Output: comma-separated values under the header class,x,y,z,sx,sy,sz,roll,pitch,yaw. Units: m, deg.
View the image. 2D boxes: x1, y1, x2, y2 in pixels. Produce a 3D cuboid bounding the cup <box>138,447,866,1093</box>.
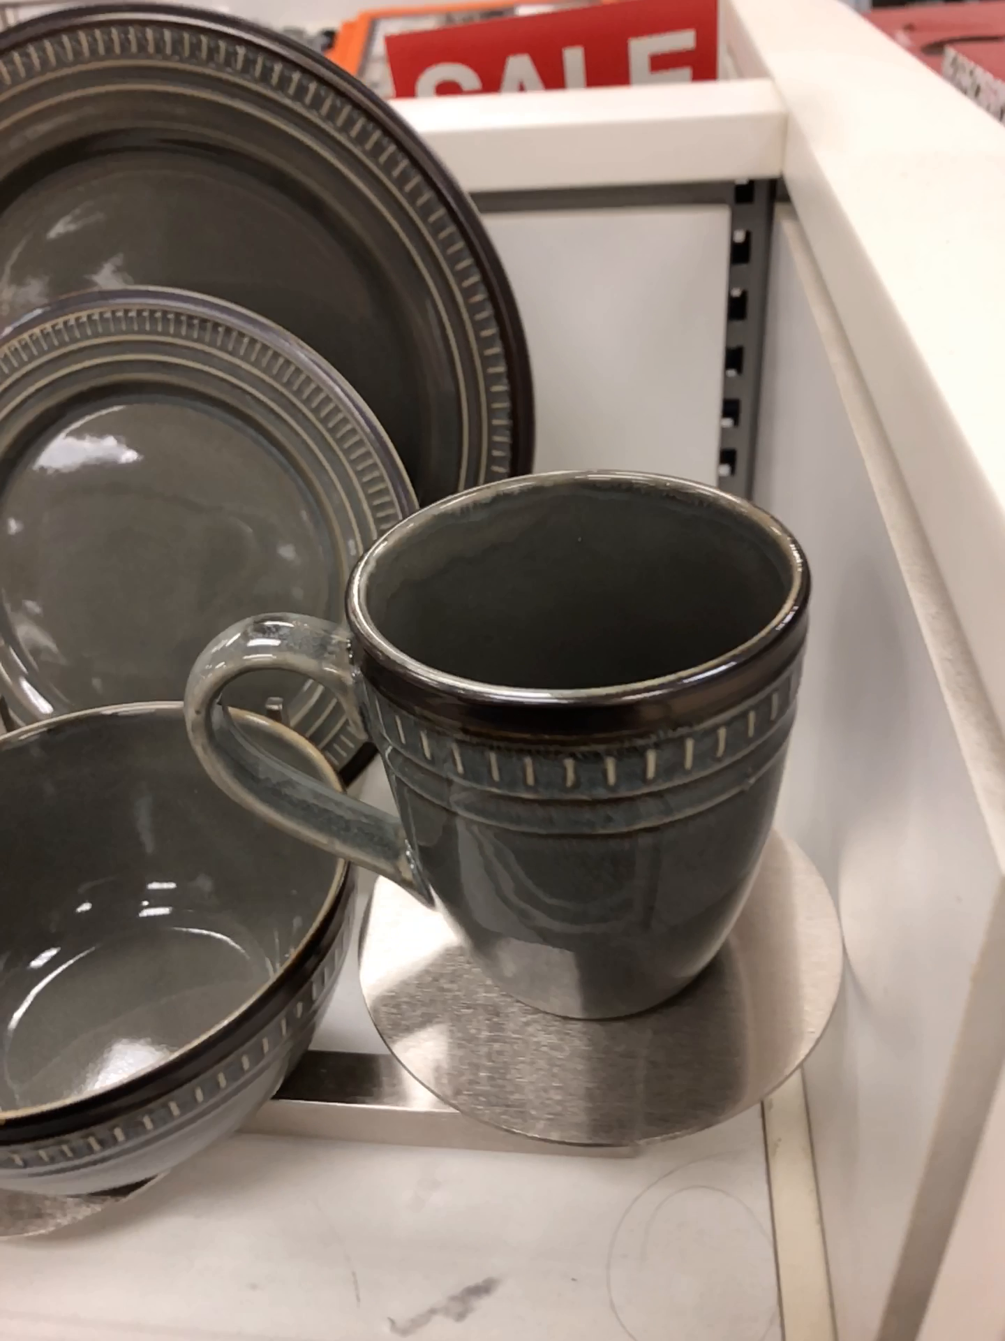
class,x,y,z,sx,sy,sz,roll,pitch,yaw
cup,0.001,0.021,0.260,0.126,0.106,0.089,-5,34,-1
